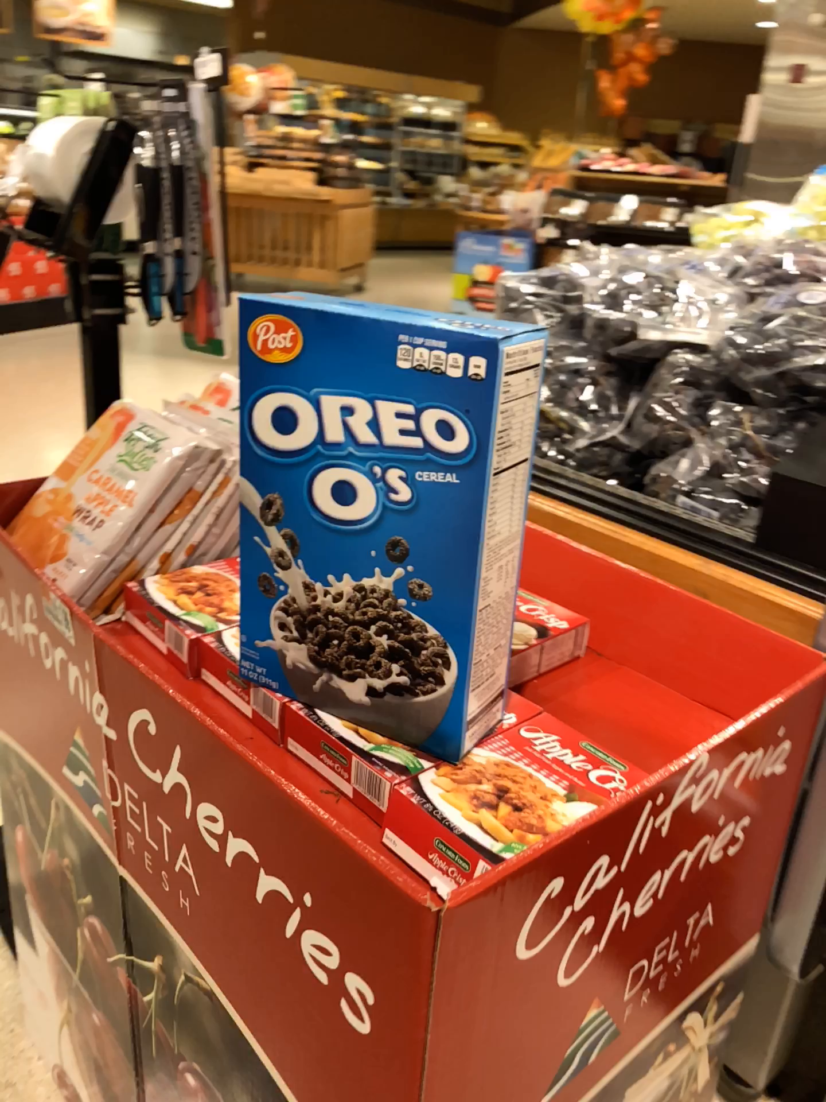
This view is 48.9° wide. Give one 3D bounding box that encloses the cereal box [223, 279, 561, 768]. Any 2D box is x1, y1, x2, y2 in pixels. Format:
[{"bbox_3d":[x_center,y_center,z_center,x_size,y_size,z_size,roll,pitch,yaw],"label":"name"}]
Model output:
[{"bbox_3d":[-0.025,-0.025,0.604,0.200,0.278,0.070,15,23,27],"label":"cereal box"}]
